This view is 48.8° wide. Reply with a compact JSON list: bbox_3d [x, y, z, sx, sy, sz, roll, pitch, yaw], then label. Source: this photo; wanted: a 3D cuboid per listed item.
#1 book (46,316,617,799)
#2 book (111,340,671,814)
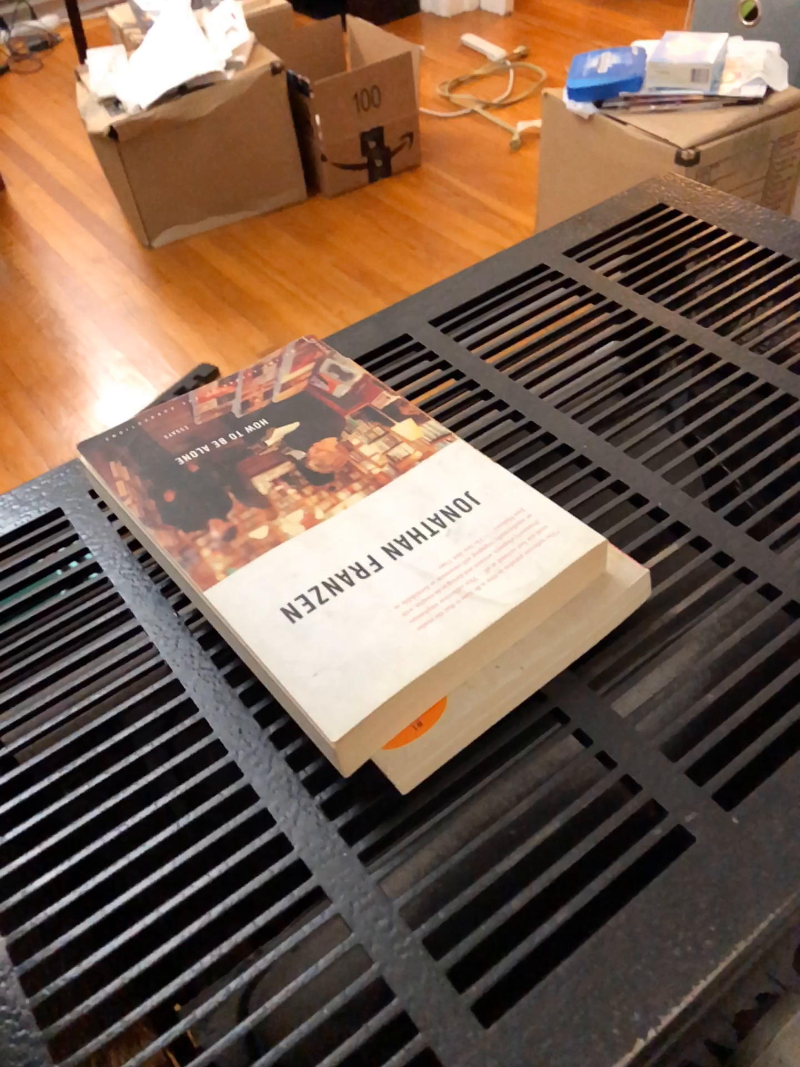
[{"bbox_3d":[-0.038,-0.011,0.388,0.150,0.030,0.211,-33,52,-23],"label":"book"},{"bbox_3d":[-0.012,-0.001,0.401,0.150,0.030,0.211,-33,52,-23],"label":"book"}]
